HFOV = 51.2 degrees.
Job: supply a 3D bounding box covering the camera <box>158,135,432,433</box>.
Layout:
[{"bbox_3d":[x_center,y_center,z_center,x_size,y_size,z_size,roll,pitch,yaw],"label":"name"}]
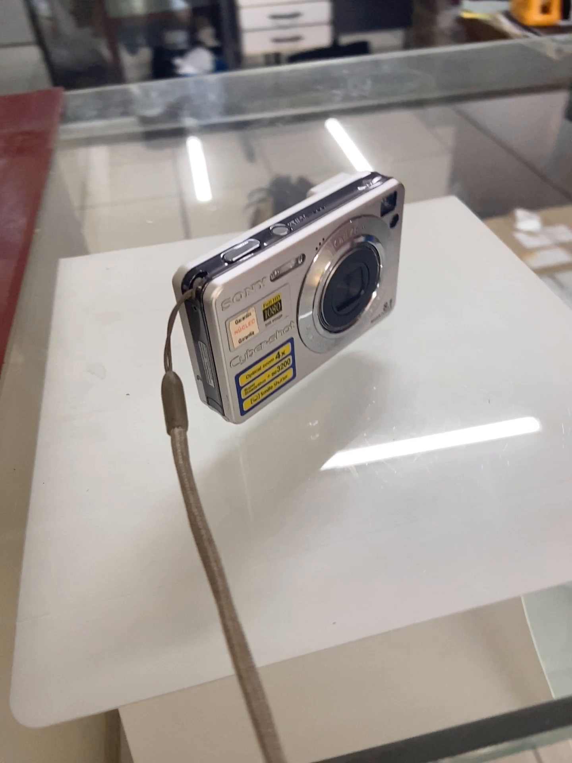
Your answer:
[{"bbox_3d":[0.008,-0.036,0.201,0.030,0.060,0.090,31,53,33],"label":"camera"}]
